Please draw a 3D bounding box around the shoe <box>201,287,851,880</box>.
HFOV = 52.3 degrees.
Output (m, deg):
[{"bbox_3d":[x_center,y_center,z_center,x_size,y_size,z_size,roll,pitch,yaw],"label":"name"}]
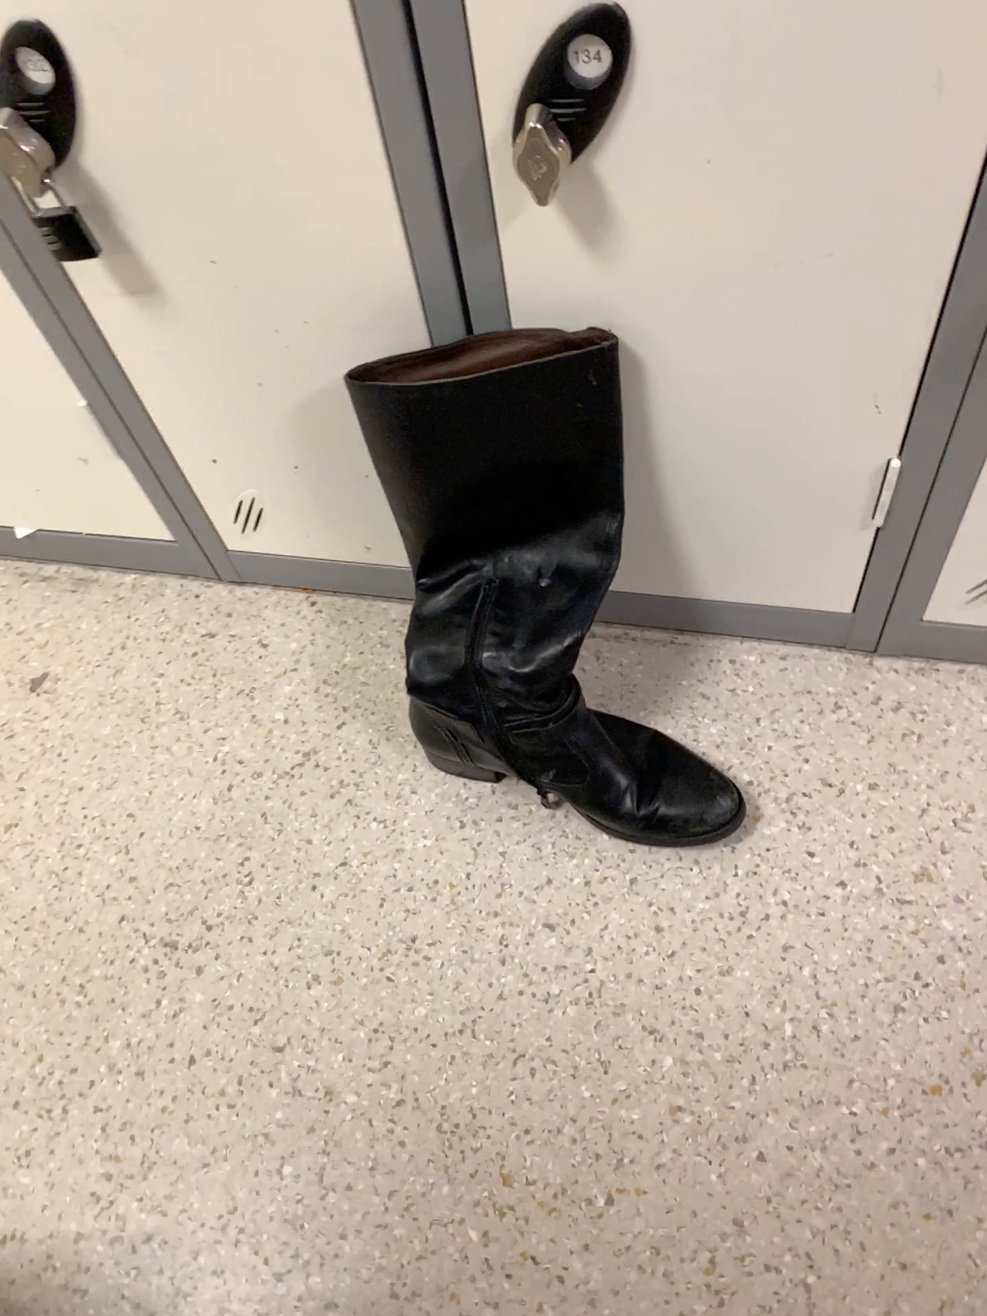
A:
[{"bbox_3d":[0.037,-0.037,0.677,0.314,0.331,0.168,14,59,18],"label":"shoe"}]
